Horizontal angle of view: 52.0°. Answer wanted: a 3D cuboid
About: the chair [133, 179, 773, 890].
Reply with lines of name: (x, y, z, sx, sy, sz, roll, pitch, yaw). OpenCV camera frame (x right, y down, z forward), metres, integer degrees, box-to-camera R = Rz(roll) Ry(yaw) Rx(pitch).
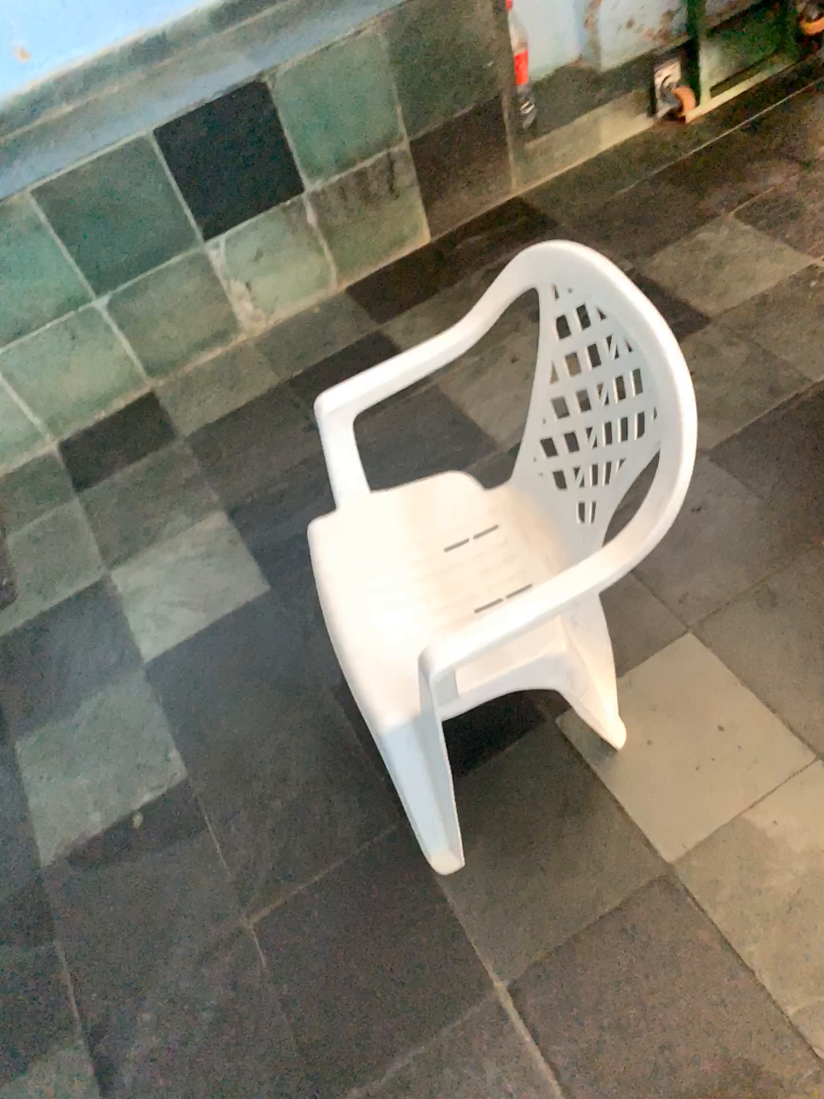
chair: (0.074, 0.009, 1.255, 0.590, 0.717, 0.543, -26, 49, -4)
